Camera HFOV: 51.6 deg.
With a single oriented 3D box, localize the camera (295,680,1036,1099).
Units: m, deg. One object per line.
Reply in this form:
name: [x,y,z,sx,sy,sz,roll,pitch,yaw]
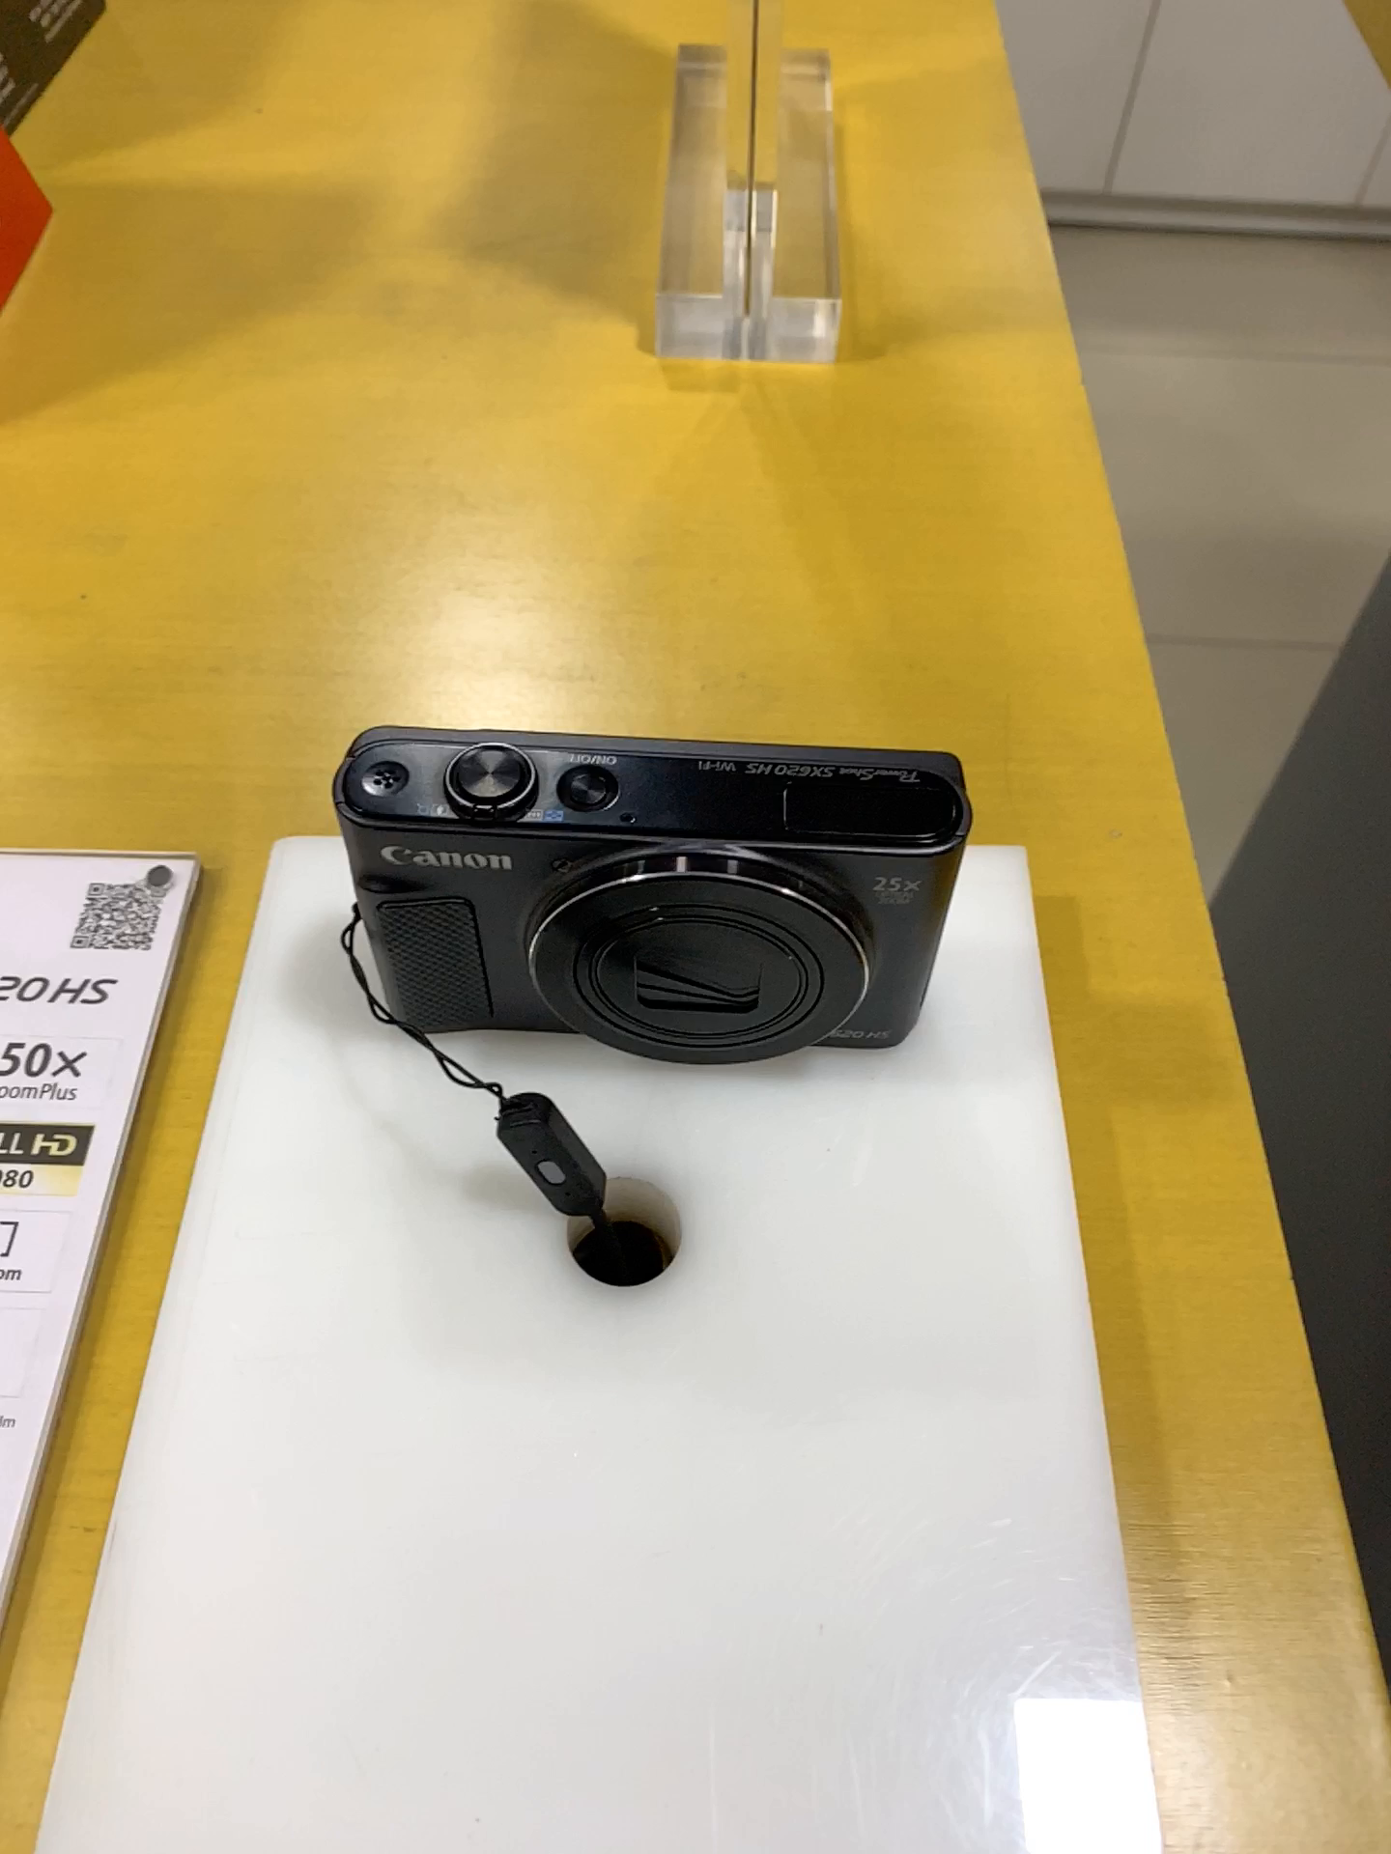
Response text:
camera: [-0.004,-0.004,0.227,0.100,0.060,0.030,3,54,1]
